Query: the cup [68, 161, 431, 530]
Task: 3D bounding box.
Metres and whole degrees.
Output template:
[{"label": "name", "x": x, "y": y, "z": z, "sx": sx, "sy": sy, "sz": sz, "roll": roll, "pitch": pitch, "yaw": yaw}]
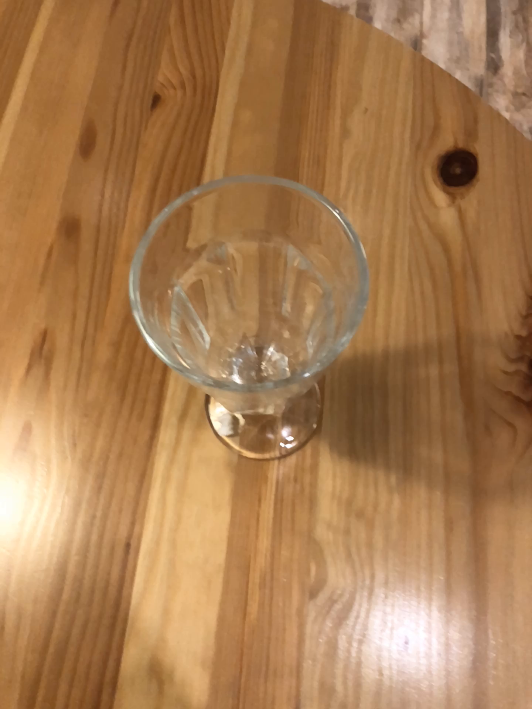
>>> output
[{"label": "cup", "x": -0.004, "y": 0.011, "z": 0.251, "sx": 0.080, "sy": 0.140, "sz": 0.080, "roll": 0, "pitch": 70, "yaw": 1}]
